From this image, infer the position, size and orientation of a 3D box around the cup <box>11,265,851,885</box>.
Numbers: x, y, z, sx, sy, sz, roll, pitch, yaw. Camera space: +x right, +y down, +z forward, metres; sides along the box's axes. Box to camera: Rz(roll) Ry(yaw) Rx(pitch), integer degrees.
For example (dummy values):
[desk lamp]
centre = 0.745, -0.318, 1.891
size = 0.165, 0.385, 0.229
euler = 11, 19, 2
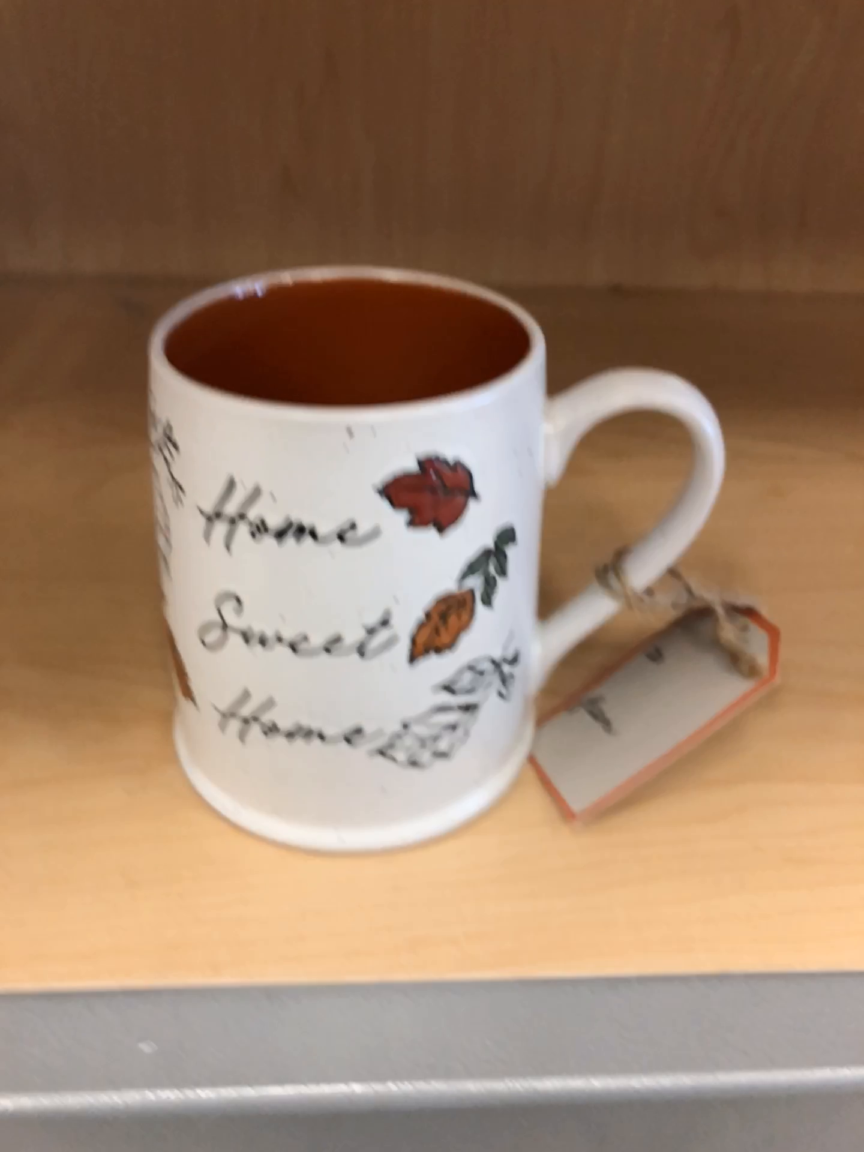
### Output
[cup]
centre = -0.003, -0.003, 0.206
size = 0.125, 0.099, 0.081
euler = -1, 35, -4
